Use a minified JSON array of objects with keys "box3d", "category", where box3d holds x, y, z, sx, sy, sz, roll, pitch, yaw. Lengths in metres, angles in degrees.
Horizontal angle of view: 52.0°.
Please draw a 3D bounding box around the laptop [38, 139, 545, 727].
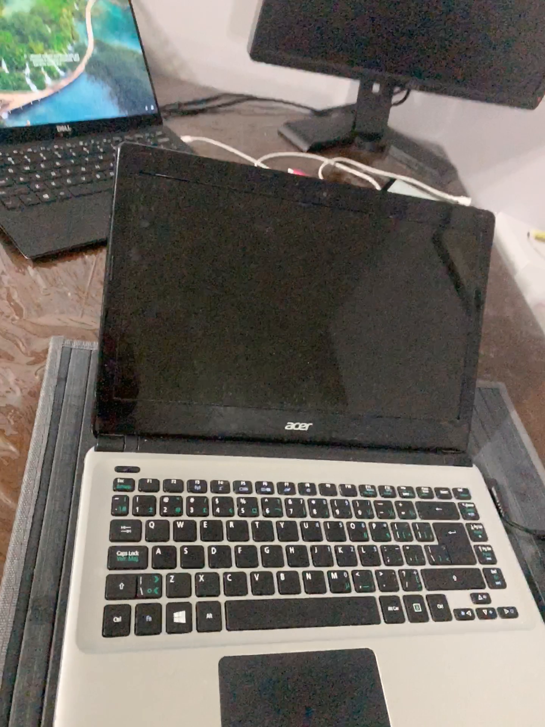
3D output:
[{"box3d":[0.047,0.046,0.378,0.330,0.146,0.387,5,47,-18],"category":"laptop"}]
